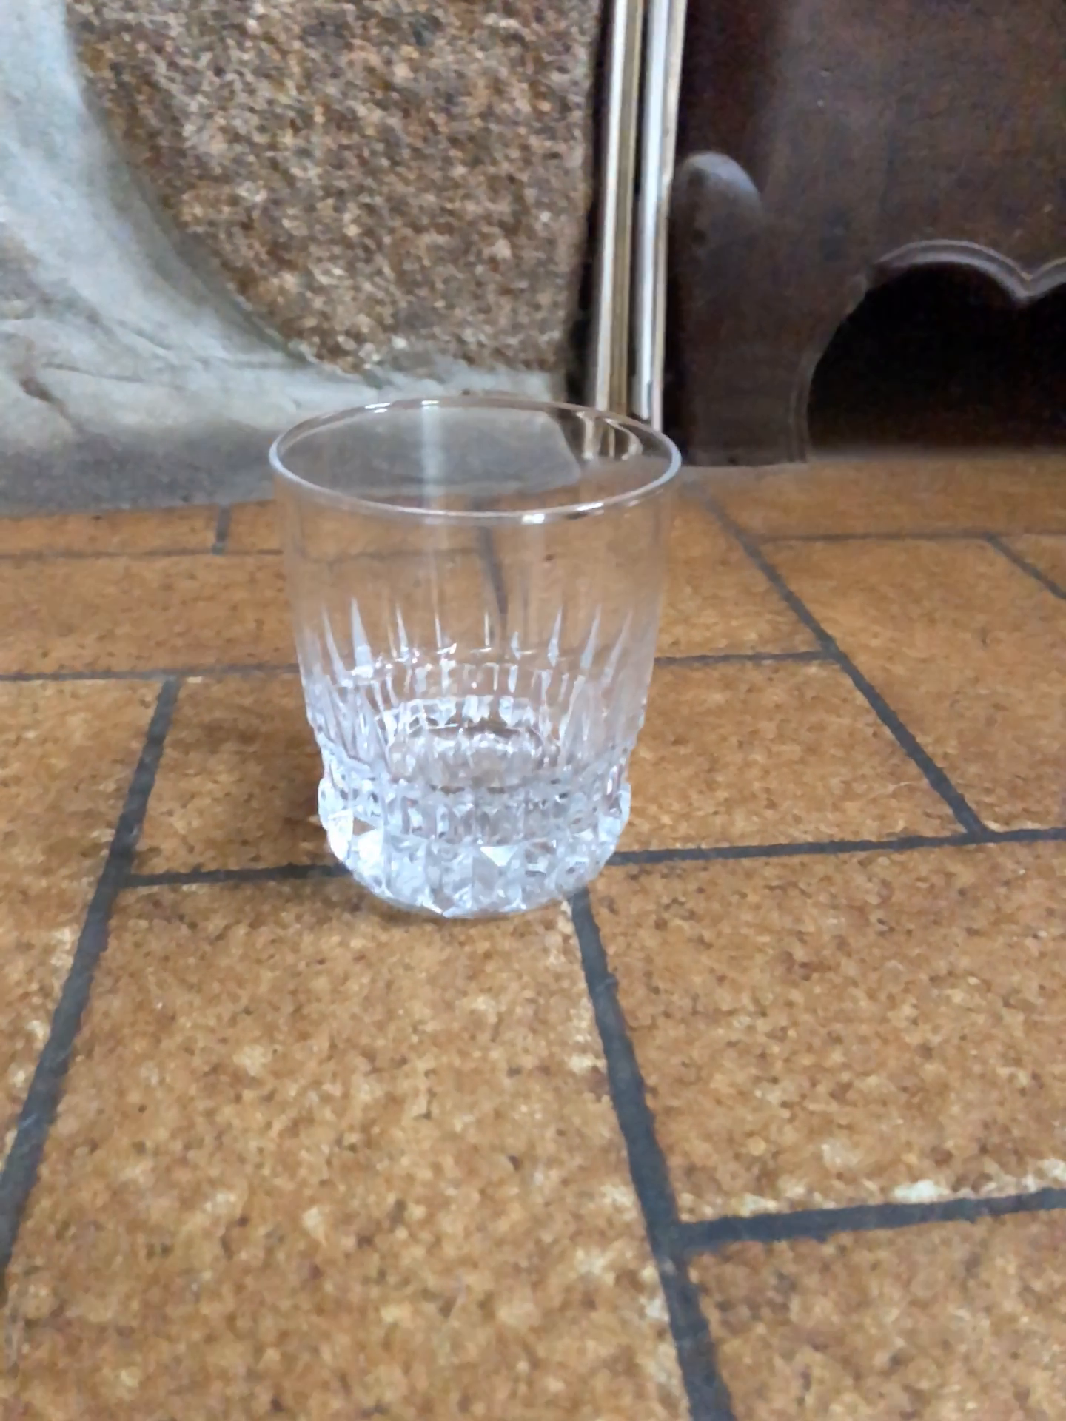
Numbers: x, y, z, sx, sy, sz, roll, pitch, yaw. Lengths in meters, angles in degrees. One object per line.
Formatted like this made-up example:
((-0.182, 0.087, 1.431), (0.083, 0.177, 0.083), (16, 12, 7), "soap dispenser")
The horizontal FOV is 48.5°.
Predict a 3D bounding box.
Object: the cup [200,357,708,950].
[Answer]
((-0.010, -0.017, 0.246), (0.080, 0.089, 0.081), (2, 28, -1), "cup")
